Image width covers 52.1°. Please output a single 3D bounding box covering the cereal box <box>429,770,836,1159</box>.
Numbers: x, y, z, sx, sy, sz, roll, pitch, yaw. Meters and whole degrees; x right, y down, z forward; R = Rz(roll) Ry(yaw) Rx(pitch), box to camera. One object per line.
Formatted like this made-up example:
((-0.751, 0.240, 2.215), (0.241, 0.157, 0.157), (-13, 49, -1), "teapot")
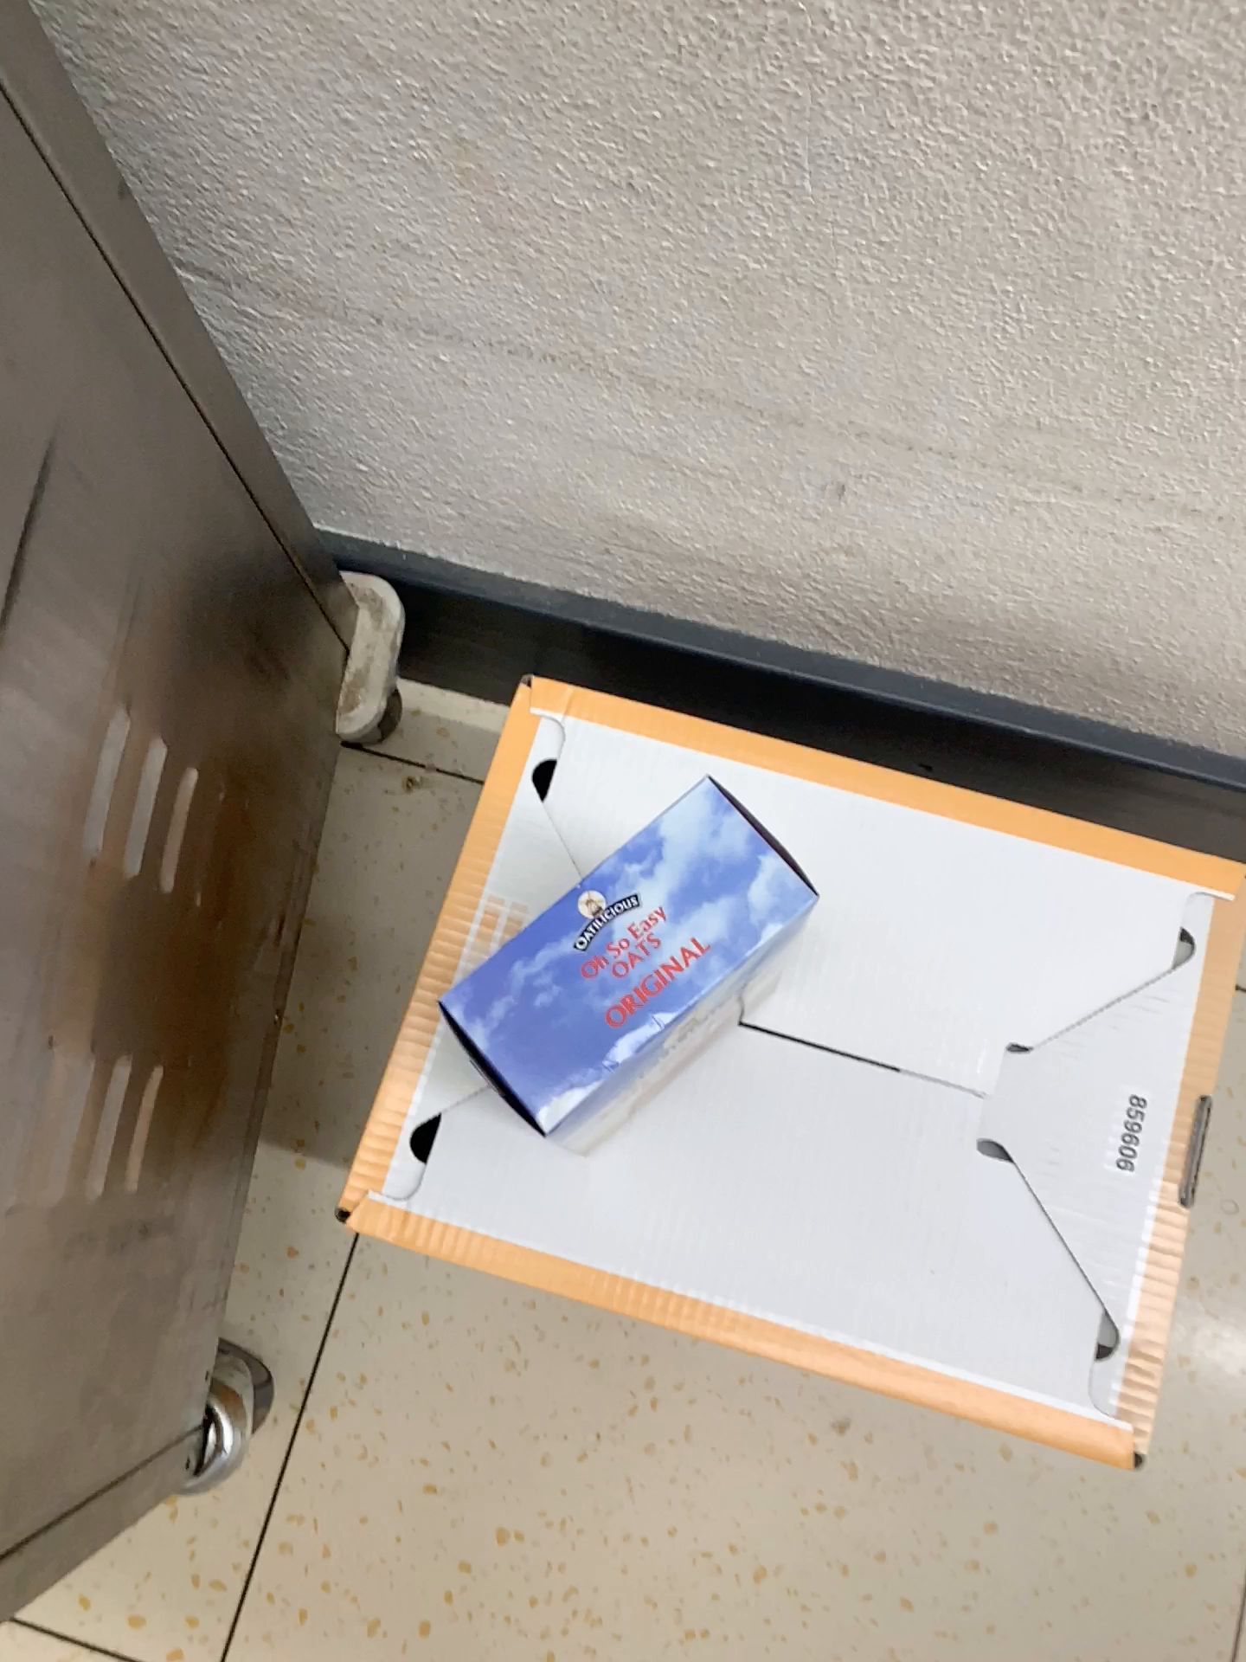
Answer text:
((0.008, 0.070, 0.538), (0.130, 0.219, 0.060), (-39, 77, -8), "cereal box")
